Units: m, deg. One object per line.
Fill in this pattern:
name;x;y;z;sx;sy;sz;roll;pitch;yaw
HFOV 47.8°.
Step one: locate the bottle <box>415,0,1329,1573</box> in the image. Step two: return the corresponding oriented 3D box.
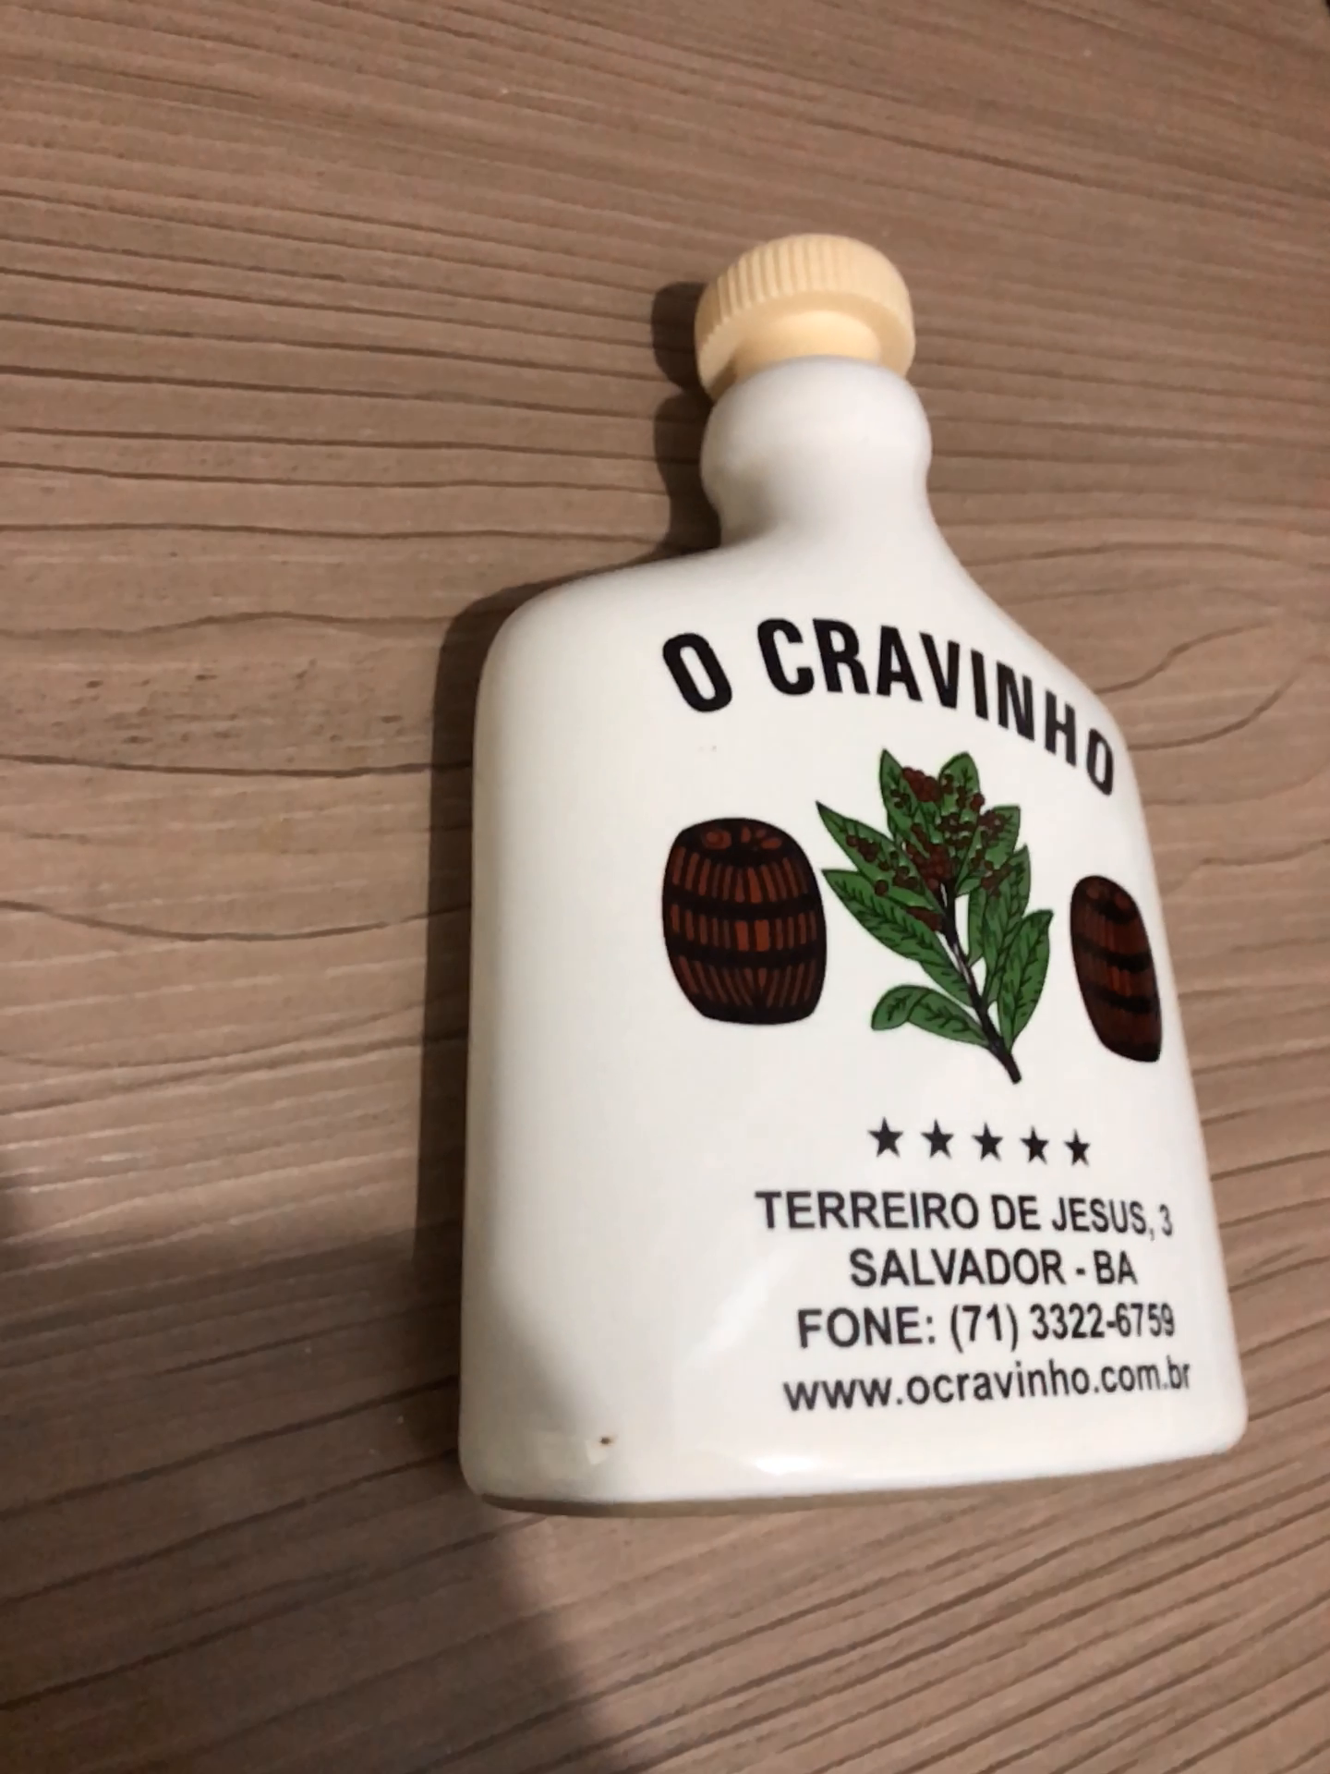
bottle;0.026;-0.012;0.181;0.100;0.040;0.160;7;71;-28
